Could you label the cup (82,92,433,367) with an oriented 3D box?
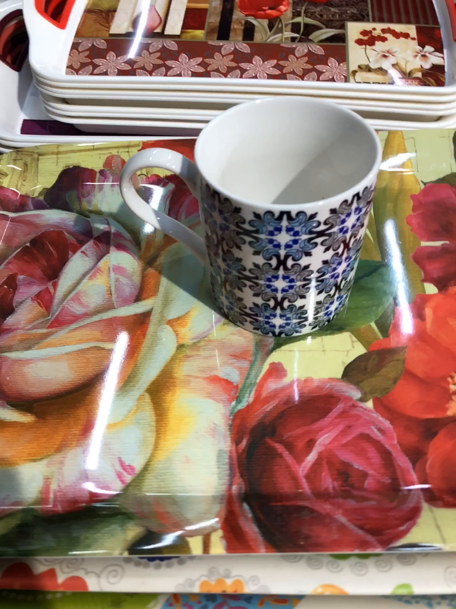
[{"bbox_3d":[0.013,-0.036,0.254,0.130,0.099,0.091,1,49,2],"label":"cup"}]
